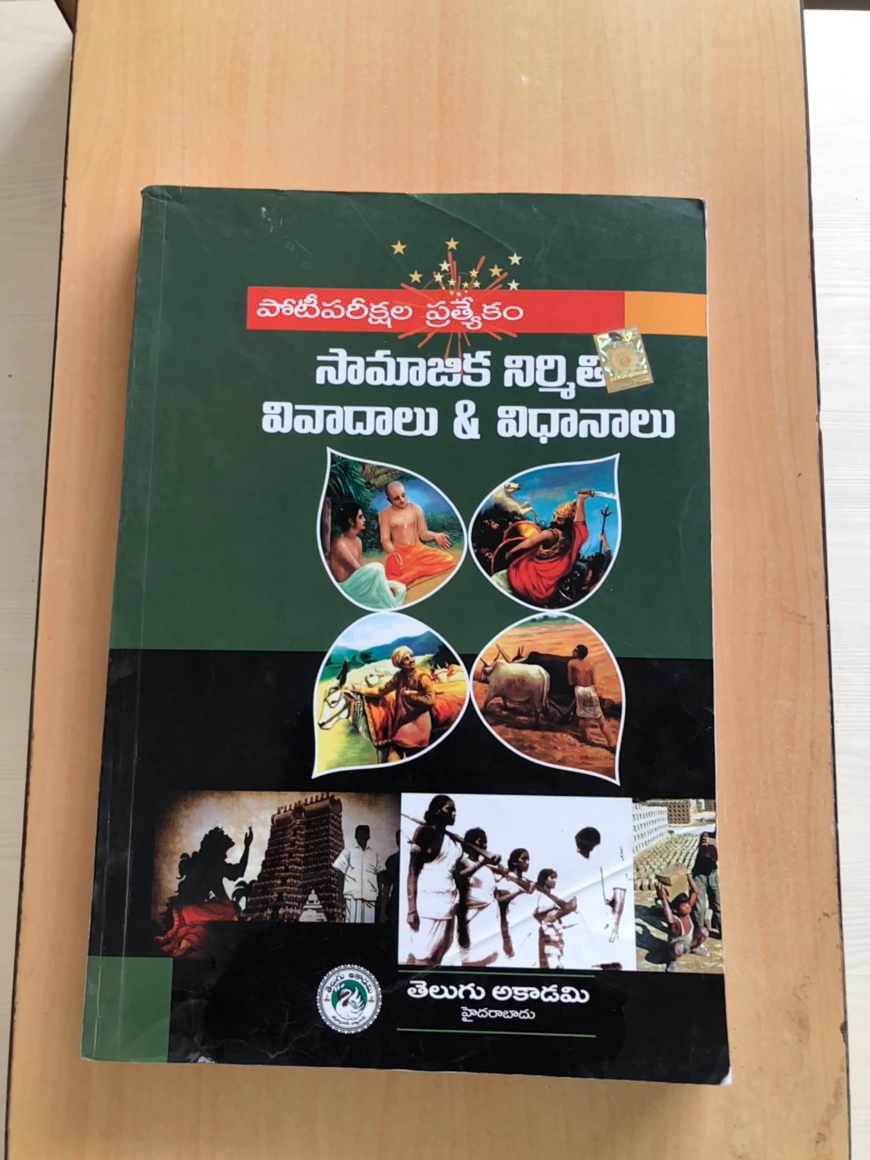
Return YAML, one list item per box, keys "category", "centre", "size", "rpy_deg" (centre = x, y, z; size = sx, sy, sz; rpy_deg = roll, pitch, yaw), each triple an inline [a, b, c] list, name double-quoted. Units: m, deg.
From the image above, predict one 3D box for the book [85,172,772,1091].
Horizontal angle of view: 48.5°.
- category: "book"
  centre: [0.000, 0.010, 0.311]
  size: [0.190, 0.050, 0.270]
  rpy_deg: [1, 82, 0]
